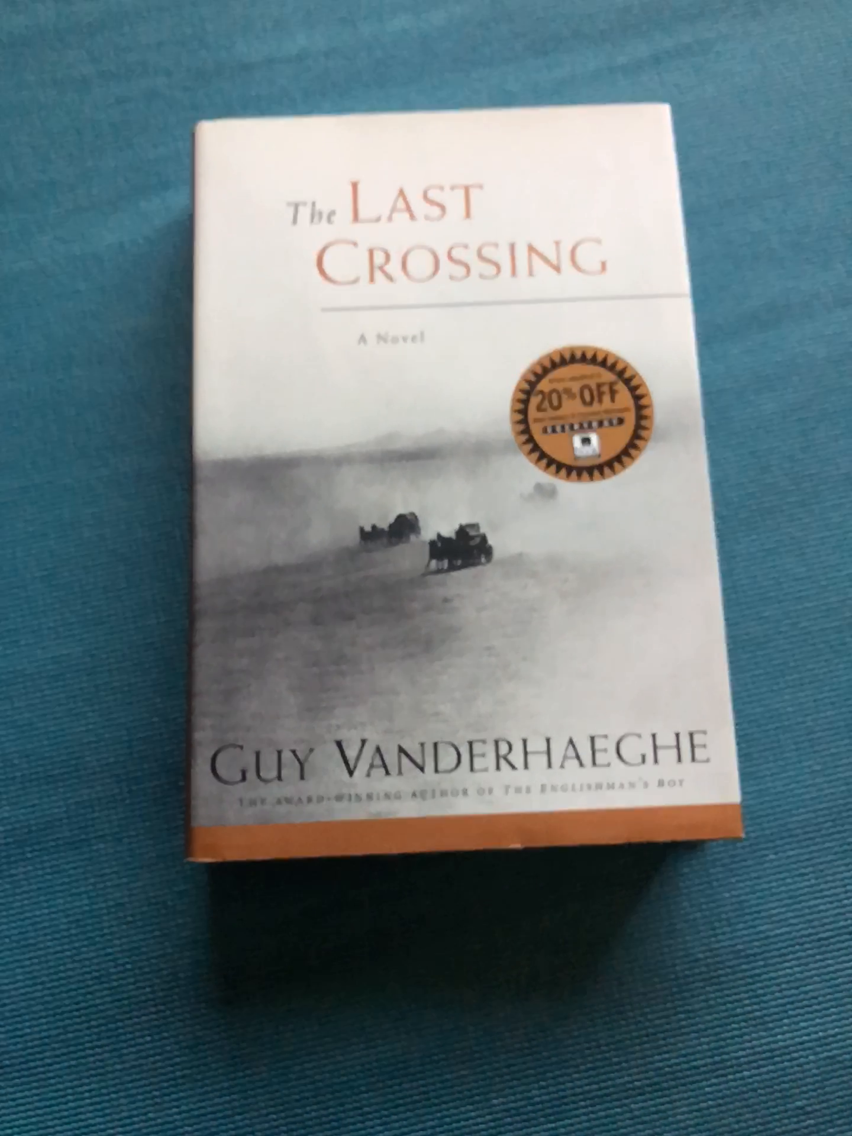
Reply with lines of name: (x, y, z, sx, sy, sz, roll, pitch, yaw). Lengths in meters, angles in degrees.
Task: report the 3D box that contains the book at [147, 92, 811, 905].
book: (0.008, -0.027, 0.288, 0.170, 0.040, 0.230, -3, 78, -1)
